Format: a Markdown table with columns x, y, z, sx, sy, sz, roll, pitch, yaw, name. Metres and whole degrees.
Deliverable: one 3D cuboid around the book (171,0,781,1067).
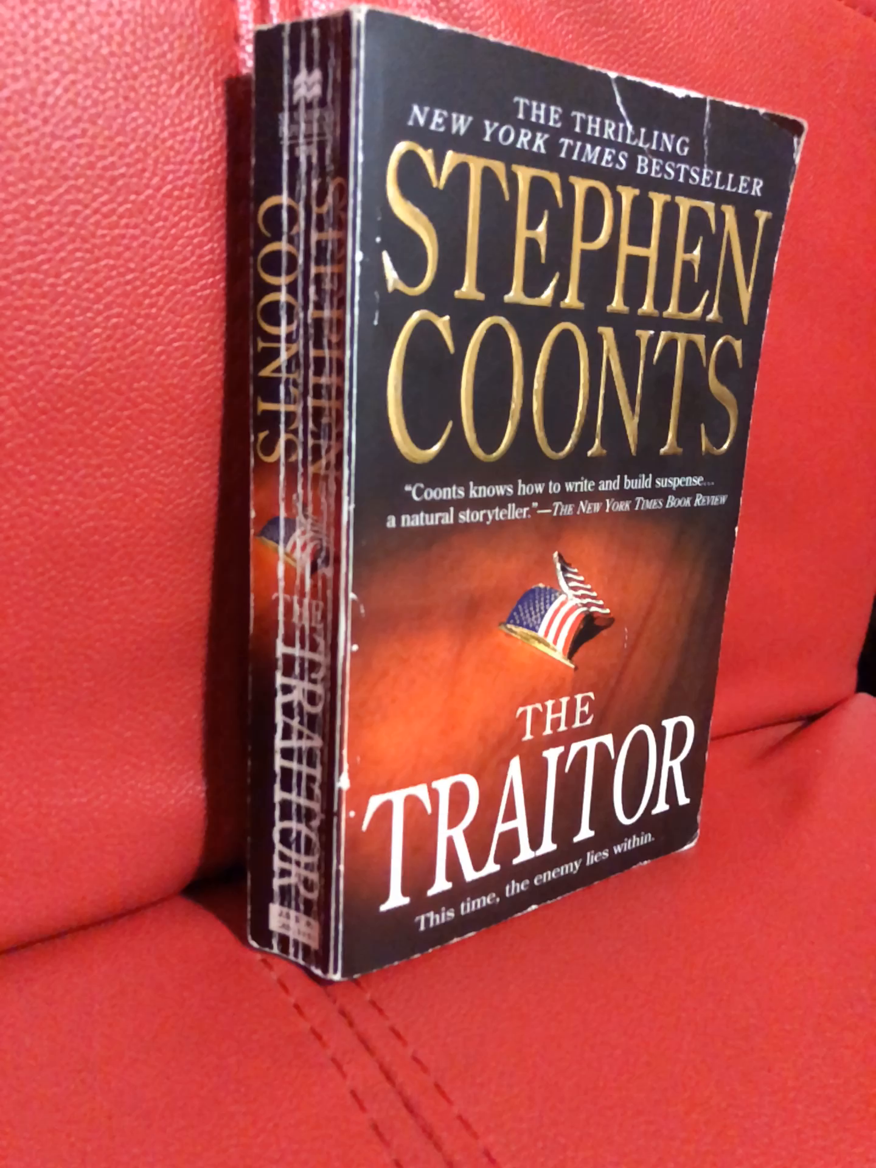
| x | y | z | sx | sy | sz | roll | pitch | yaw | name |
| --- | --- | --- | --- | --- | --- | --- | --- | --- | --- |
| 0.012 | -0.016 | 0.203 | 0.120 | 0.180 | 0.040 | -7 | 13 | -39 | book |
